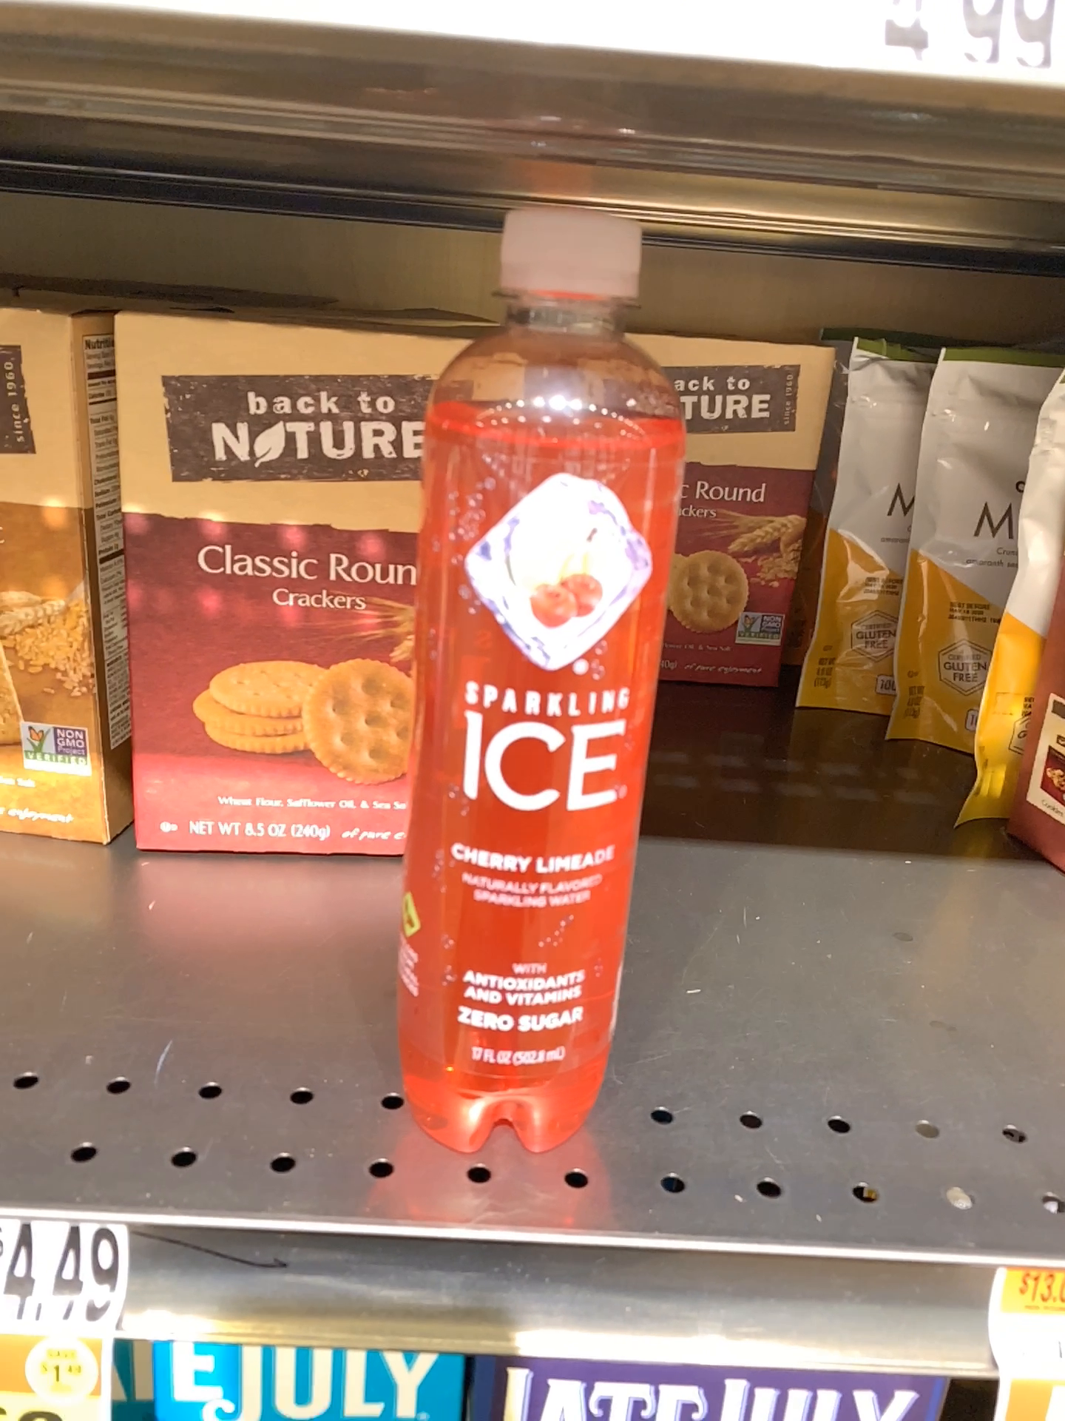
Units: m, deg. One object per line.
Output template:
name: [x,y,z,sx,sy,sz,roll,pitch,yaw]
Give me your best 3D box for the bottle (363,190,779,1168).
bottle: [-0.001,0.001,0.249,0.065,0.210,0.060,4,23,-2]
